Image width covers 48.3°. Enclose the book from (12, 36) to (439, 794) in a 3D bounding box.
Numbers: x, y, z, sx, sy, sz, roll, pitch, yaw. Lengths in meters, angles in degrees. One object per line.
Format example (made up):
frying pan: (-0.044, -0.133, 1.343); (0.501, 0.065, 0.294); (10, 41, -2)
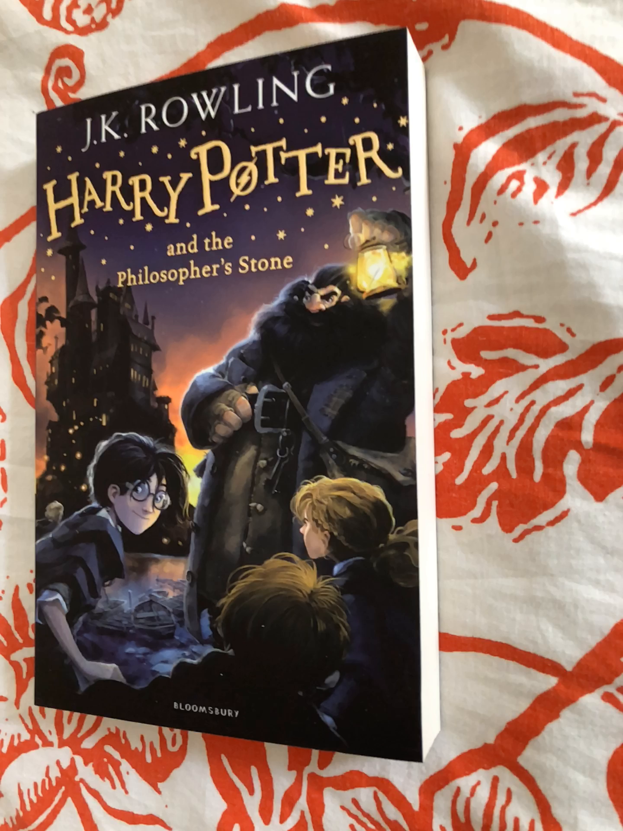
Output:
book: (-0.029, -0.001, 0.205); (0.127, 0.020, 0.189); (1, 89, 21)
